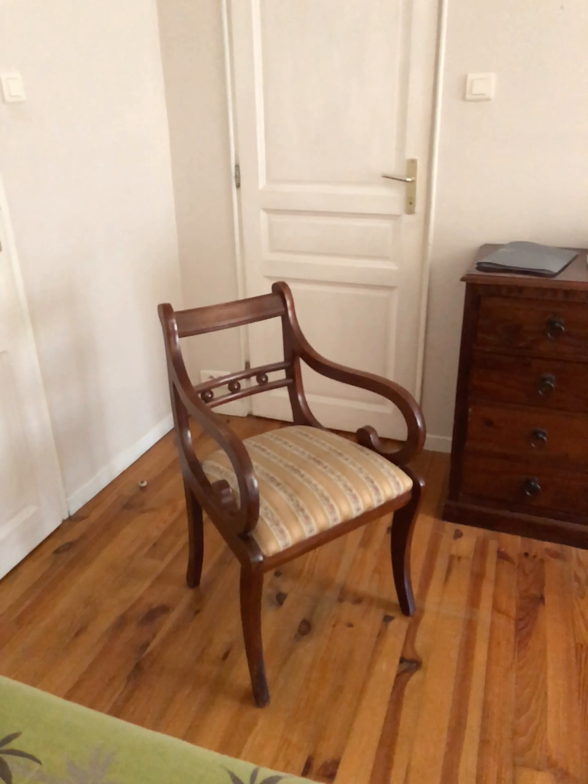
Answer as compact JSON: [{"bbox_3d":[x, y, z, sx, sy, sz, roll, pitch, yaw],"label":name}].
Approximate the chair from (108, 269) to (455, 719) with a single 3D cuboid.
[{"bbox_3d":[-0.041,0.190,1.630,0.582,0.826,0.571,-16,28,-31],"label":"chair"}]
